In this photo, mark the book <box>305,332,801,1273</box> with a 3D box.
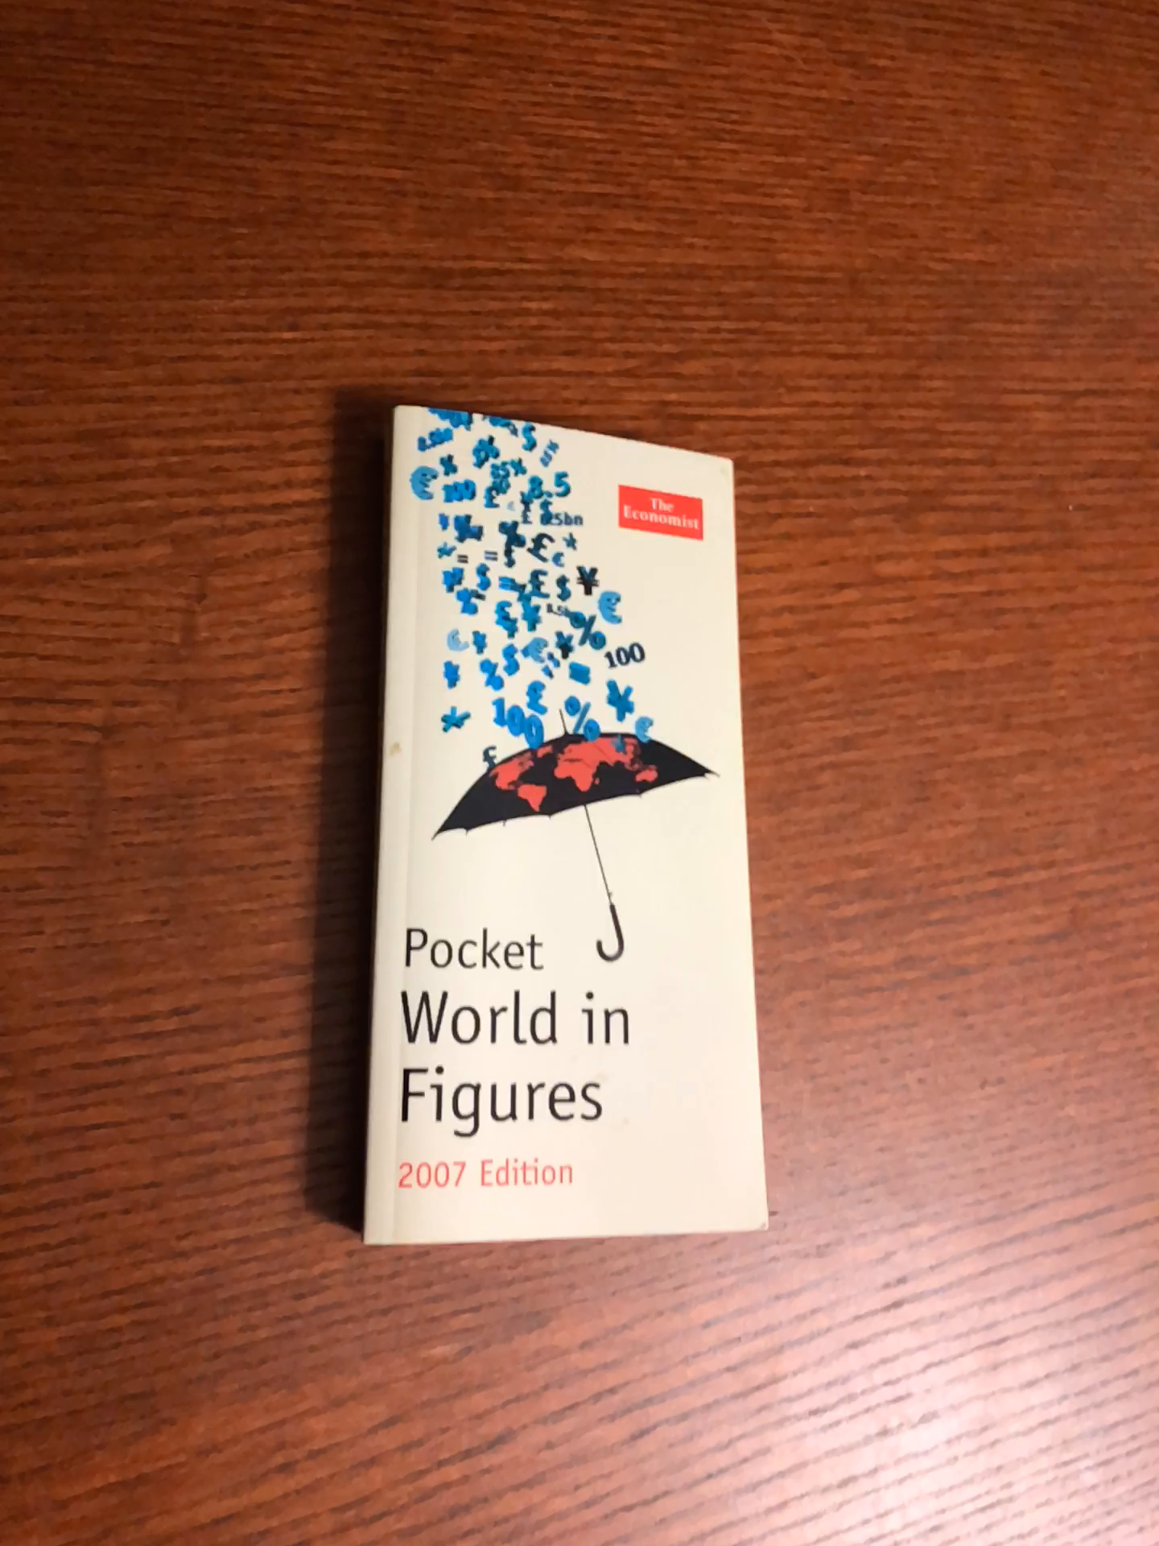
[{"bbox_3d":[-0.005,0.005,0.296,0.100,0.030,0.200,5,75,-17],"label":"book"}]
